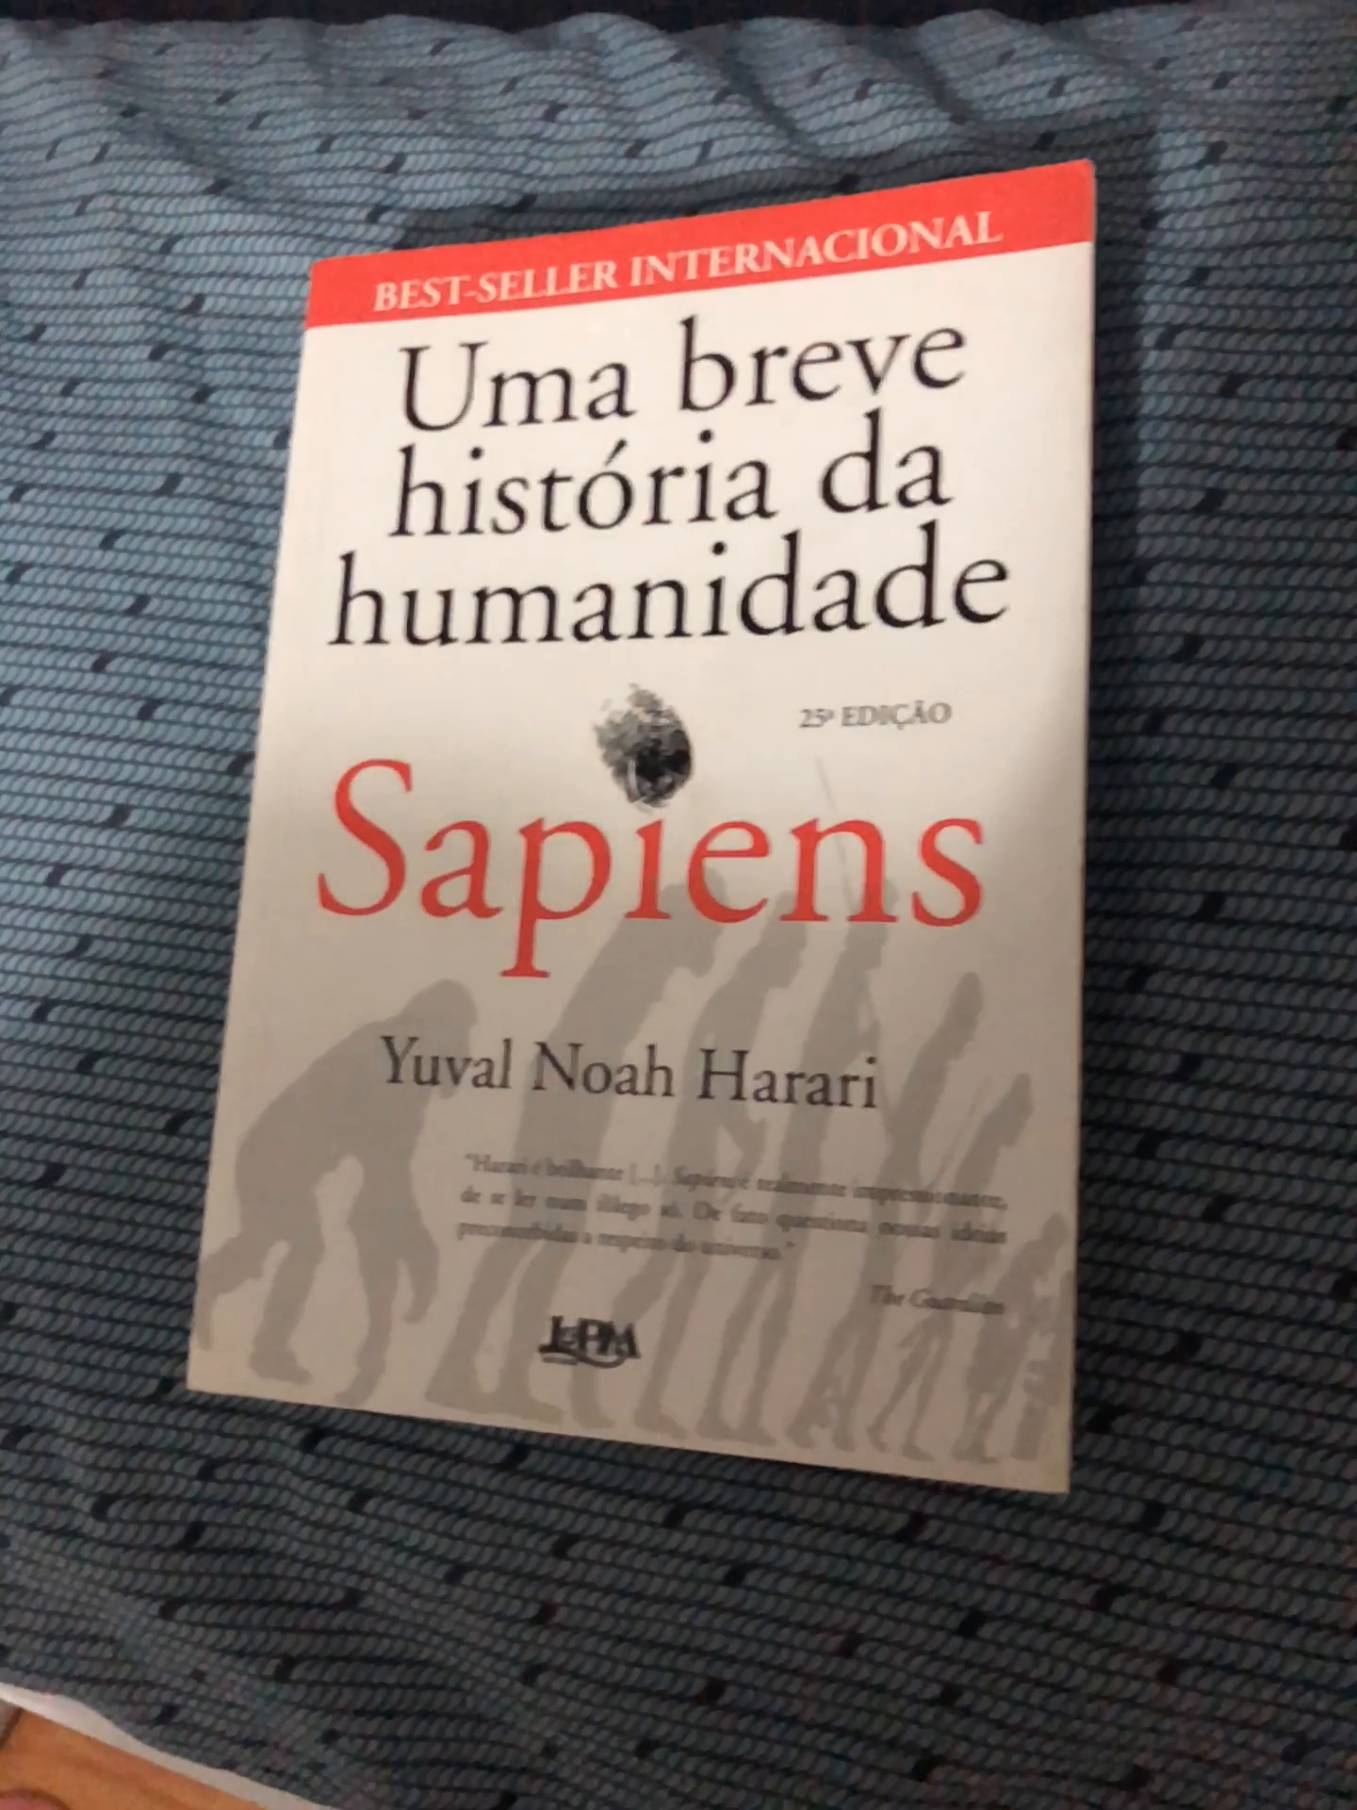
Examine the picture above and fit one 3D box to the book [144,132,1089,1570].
[{"bbox_3d":[-0.006,-0.016,0.287,0.160,0.040,0.240,0,79,15],"label":"book"}]
